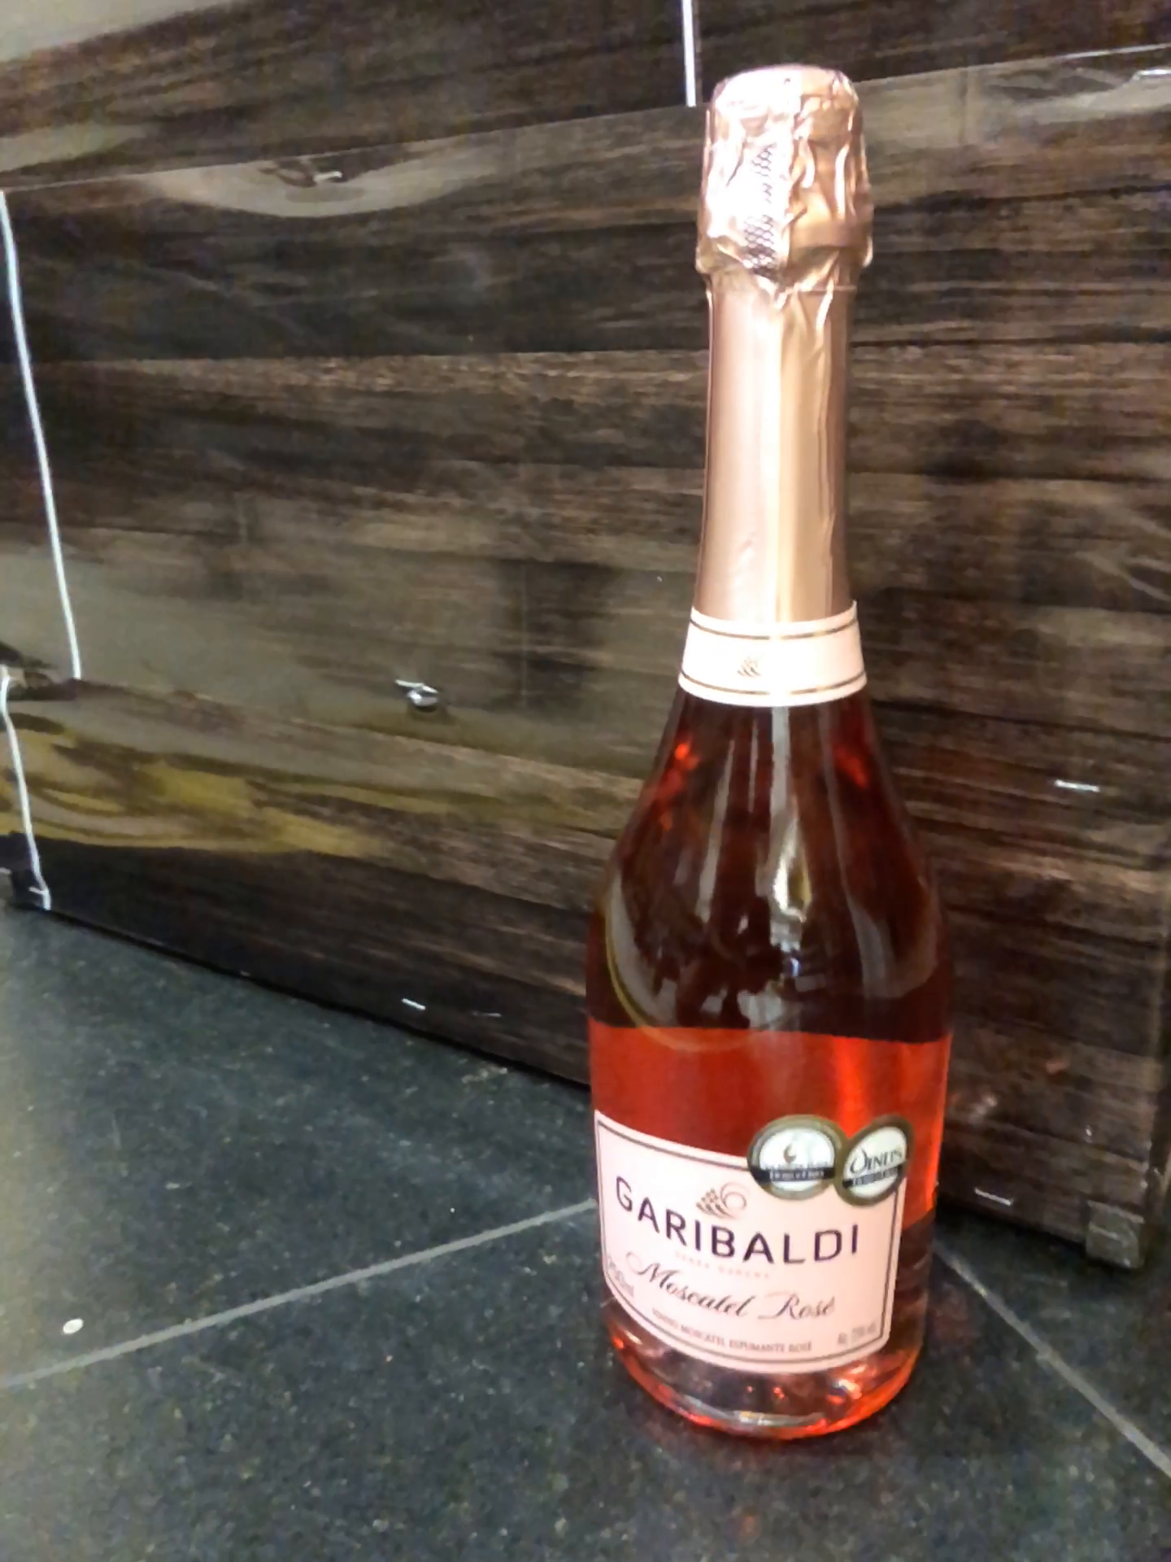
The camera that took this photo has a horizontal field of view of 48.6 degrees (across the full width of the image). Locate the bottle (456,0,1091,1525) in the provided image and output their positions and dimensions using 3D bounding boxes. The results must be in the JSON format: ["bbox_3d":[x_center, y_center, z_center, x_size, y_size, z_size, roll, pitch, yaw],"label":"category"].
[{"bbox_3d":[0.050,-0.002,0.325,0.110,0.338,0.101,-2,18,1],"label":"bottle"}]
